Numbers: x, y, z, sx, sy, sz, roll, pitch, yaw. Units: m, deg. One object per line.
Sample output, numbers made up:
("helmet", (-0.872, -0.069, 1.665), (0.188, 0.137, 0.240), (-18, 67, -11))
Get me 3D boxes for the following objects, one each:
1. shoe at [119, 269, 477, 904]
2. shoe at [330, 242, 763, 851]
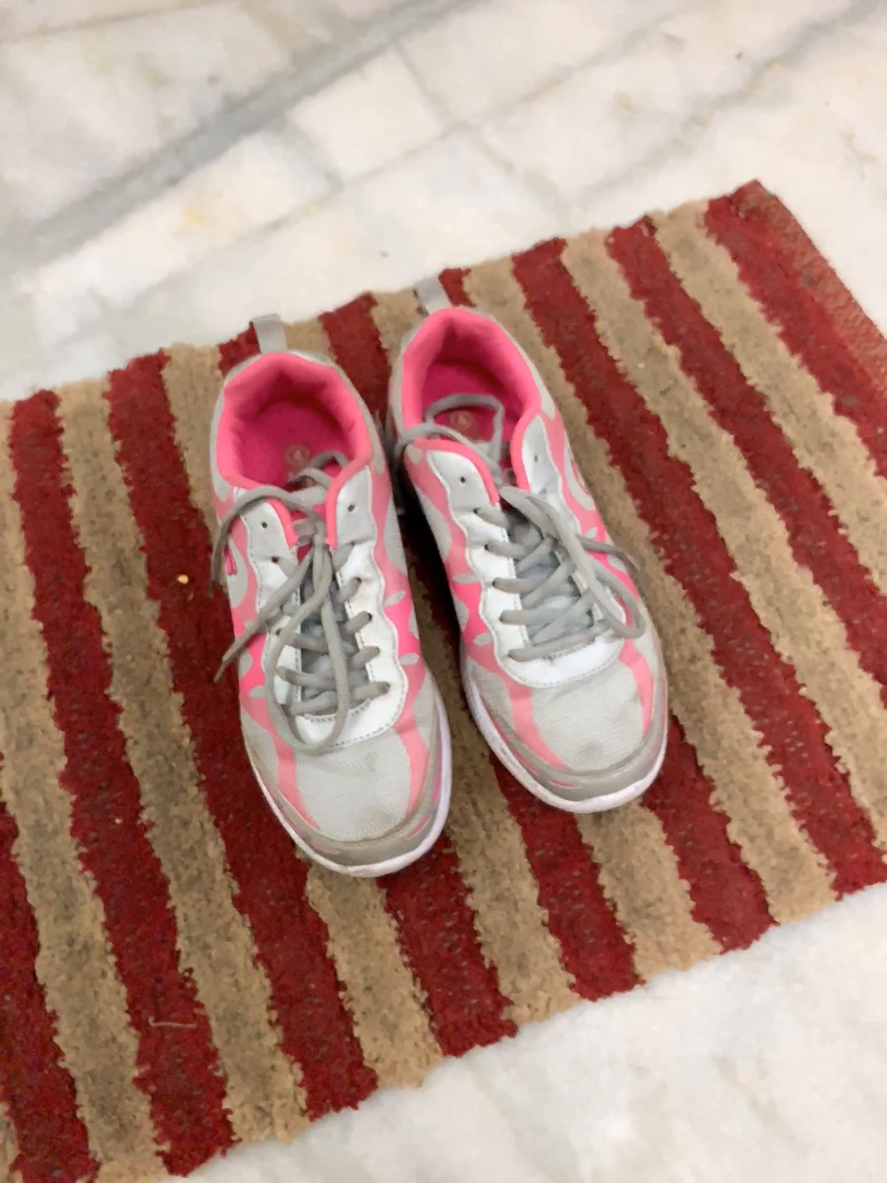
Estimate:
("shoe", (-0.061, -0.004, 0.387), (0.100, 0.100, 0.231), (-12, 65, -3))
("shoe", (0.032, -0.022, 0.403), (0.090, 0.100, 0.231), (-18, 66, -6))
